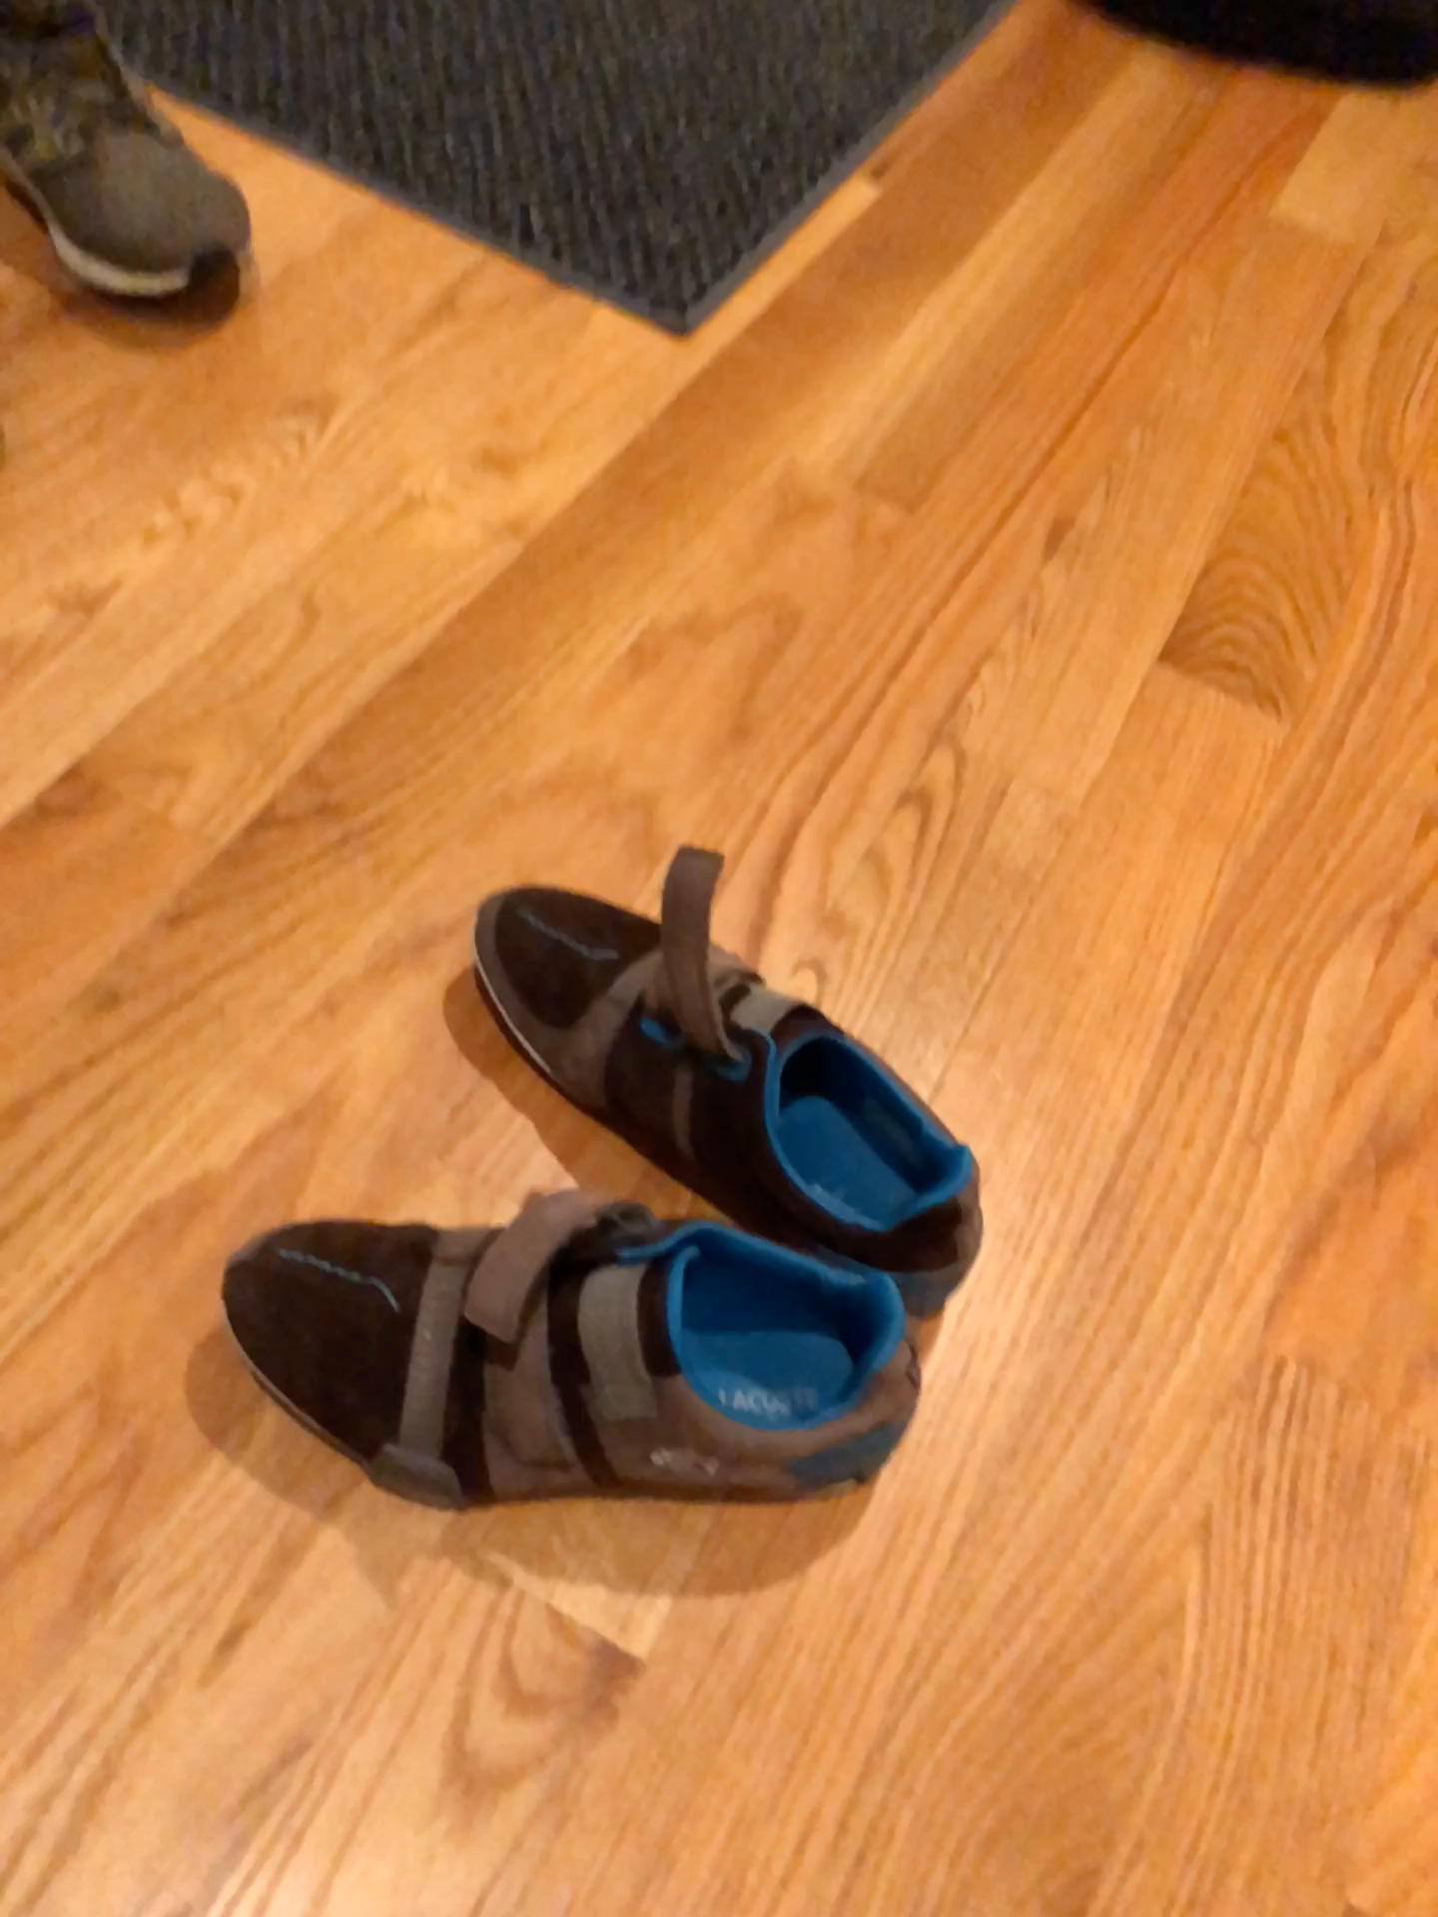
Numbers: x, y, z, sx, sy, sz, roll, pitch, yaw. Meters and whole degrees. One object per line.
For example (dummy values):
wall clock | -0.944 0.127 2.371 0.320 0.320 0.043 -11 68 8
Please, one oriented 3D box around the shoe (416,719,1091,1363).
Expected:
shoe | 0.005 0.029 0.644 0.255 0.092 0.102 37 56 15

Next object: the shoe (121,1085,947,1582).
shoe | -0.058 0.134 0.552 0.255 0.092 0.102 11 53 -4
